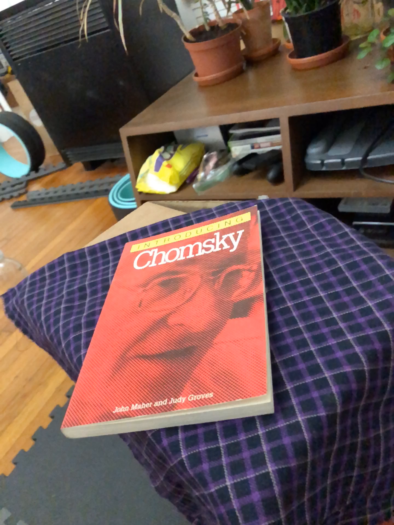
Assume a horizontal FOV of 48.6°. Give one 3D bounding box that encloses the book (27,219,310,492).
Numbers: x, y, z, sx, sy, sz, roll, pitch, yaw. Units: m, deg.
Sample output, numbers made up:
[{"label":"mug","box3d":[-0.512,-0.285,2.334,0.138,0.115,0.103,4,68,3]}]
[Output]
[{"label":"book","box3d":[-0.014,0.057,0.364,0.180,0.020,0.241,-13,35,14]}]
